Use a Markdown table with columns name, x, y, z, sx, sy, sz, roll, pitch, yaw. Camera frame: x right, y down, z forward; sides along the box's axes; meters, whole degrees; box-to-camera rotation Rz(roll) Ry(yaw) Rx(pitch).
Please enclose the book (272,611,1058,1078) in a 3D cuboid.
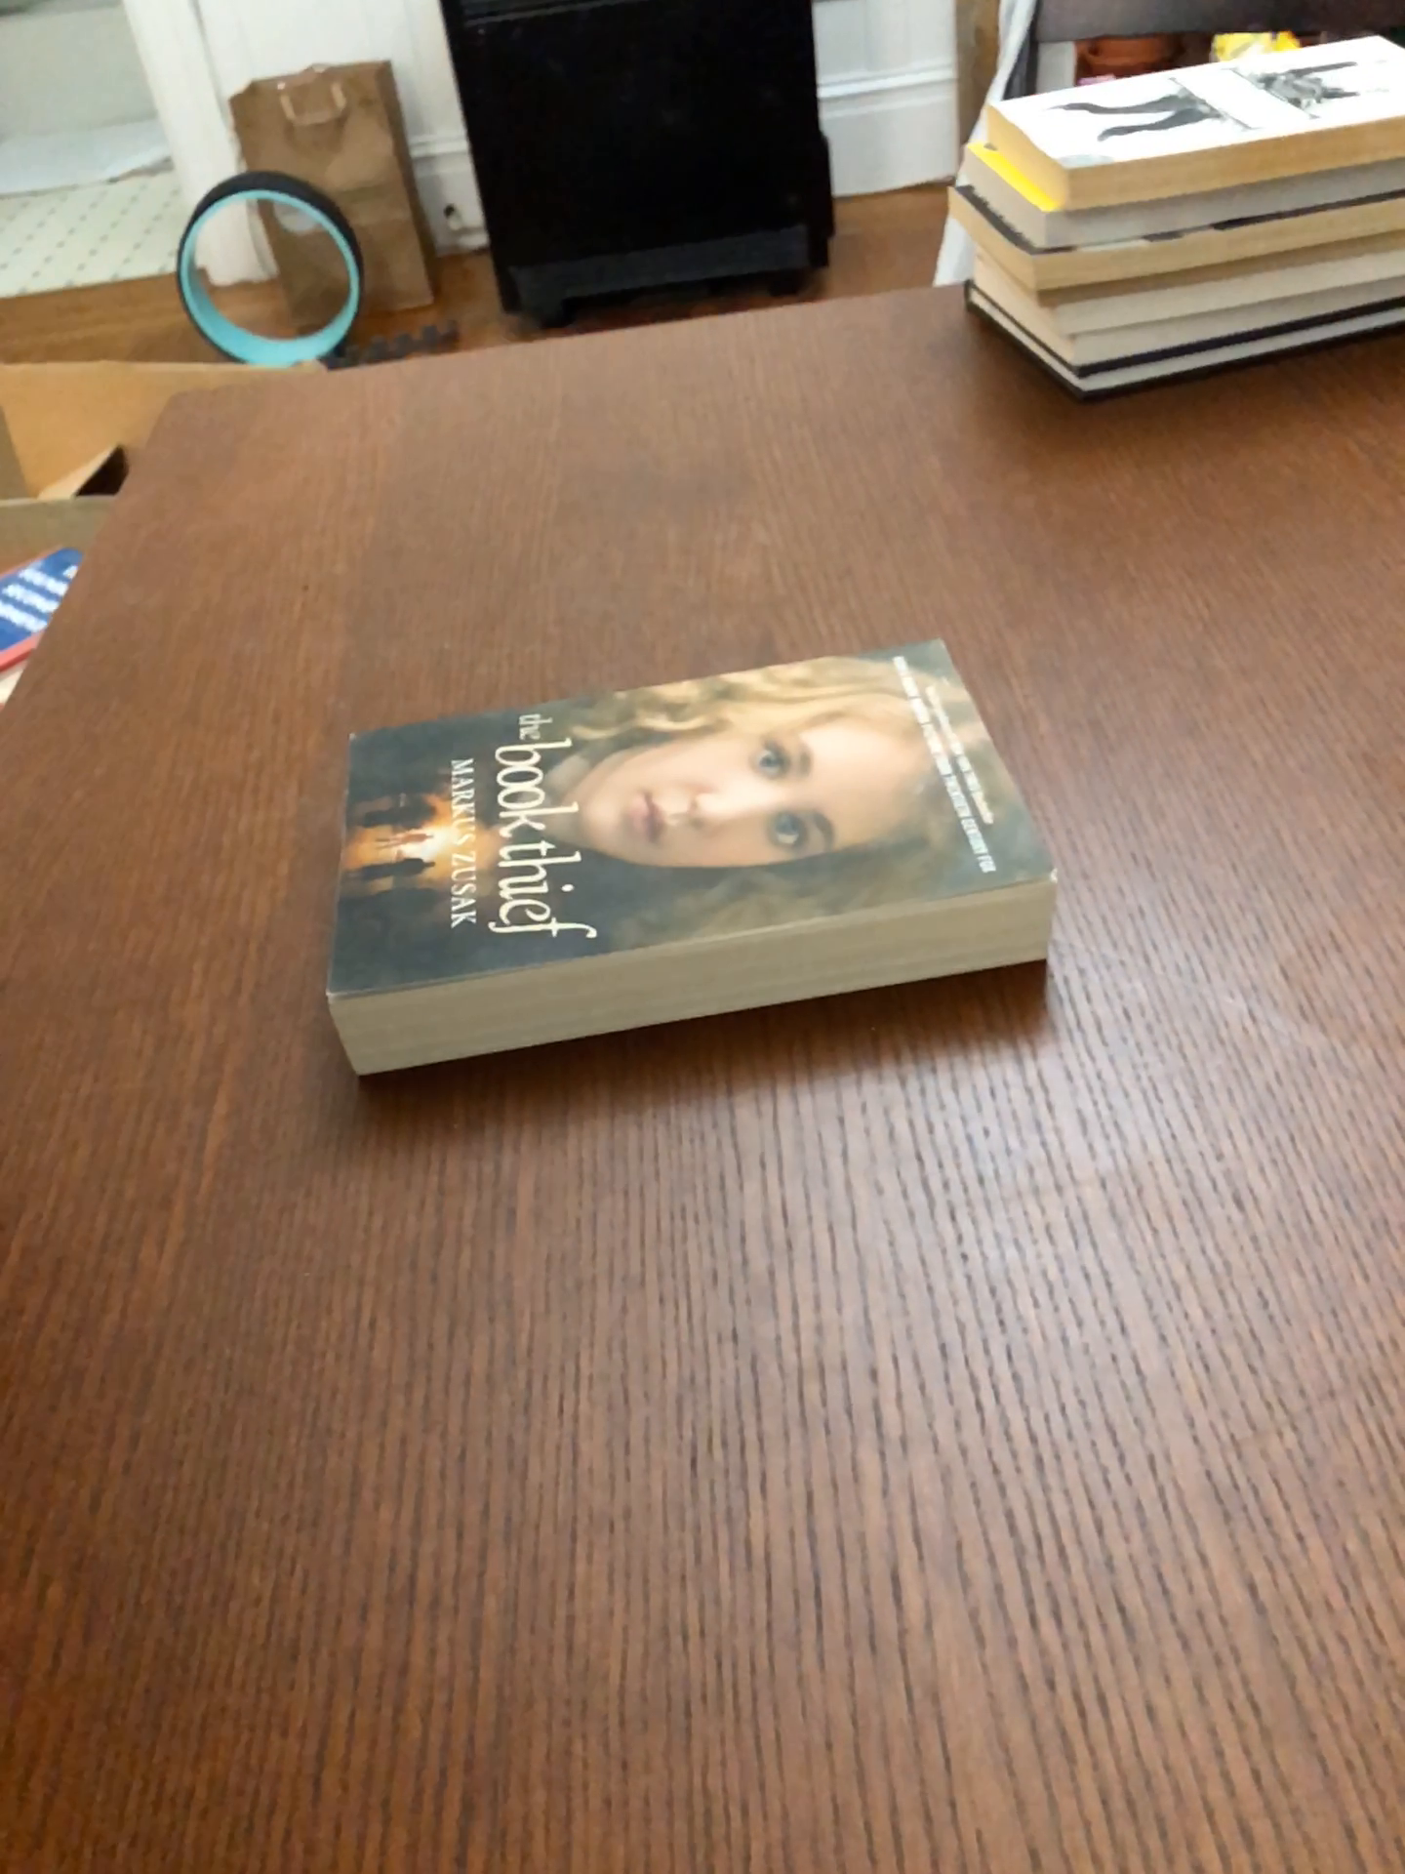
| name | x | y | z | sx | sy | sz | roll | pitch | yaw |
| --- | --- | --- | --- | --- | --- | --- | --- | --- | --- |
| book | -0.017 | -0.037 | 0.497 | 0.220 | 0.030 | 0.151 | -9 | 40 | 0 |
